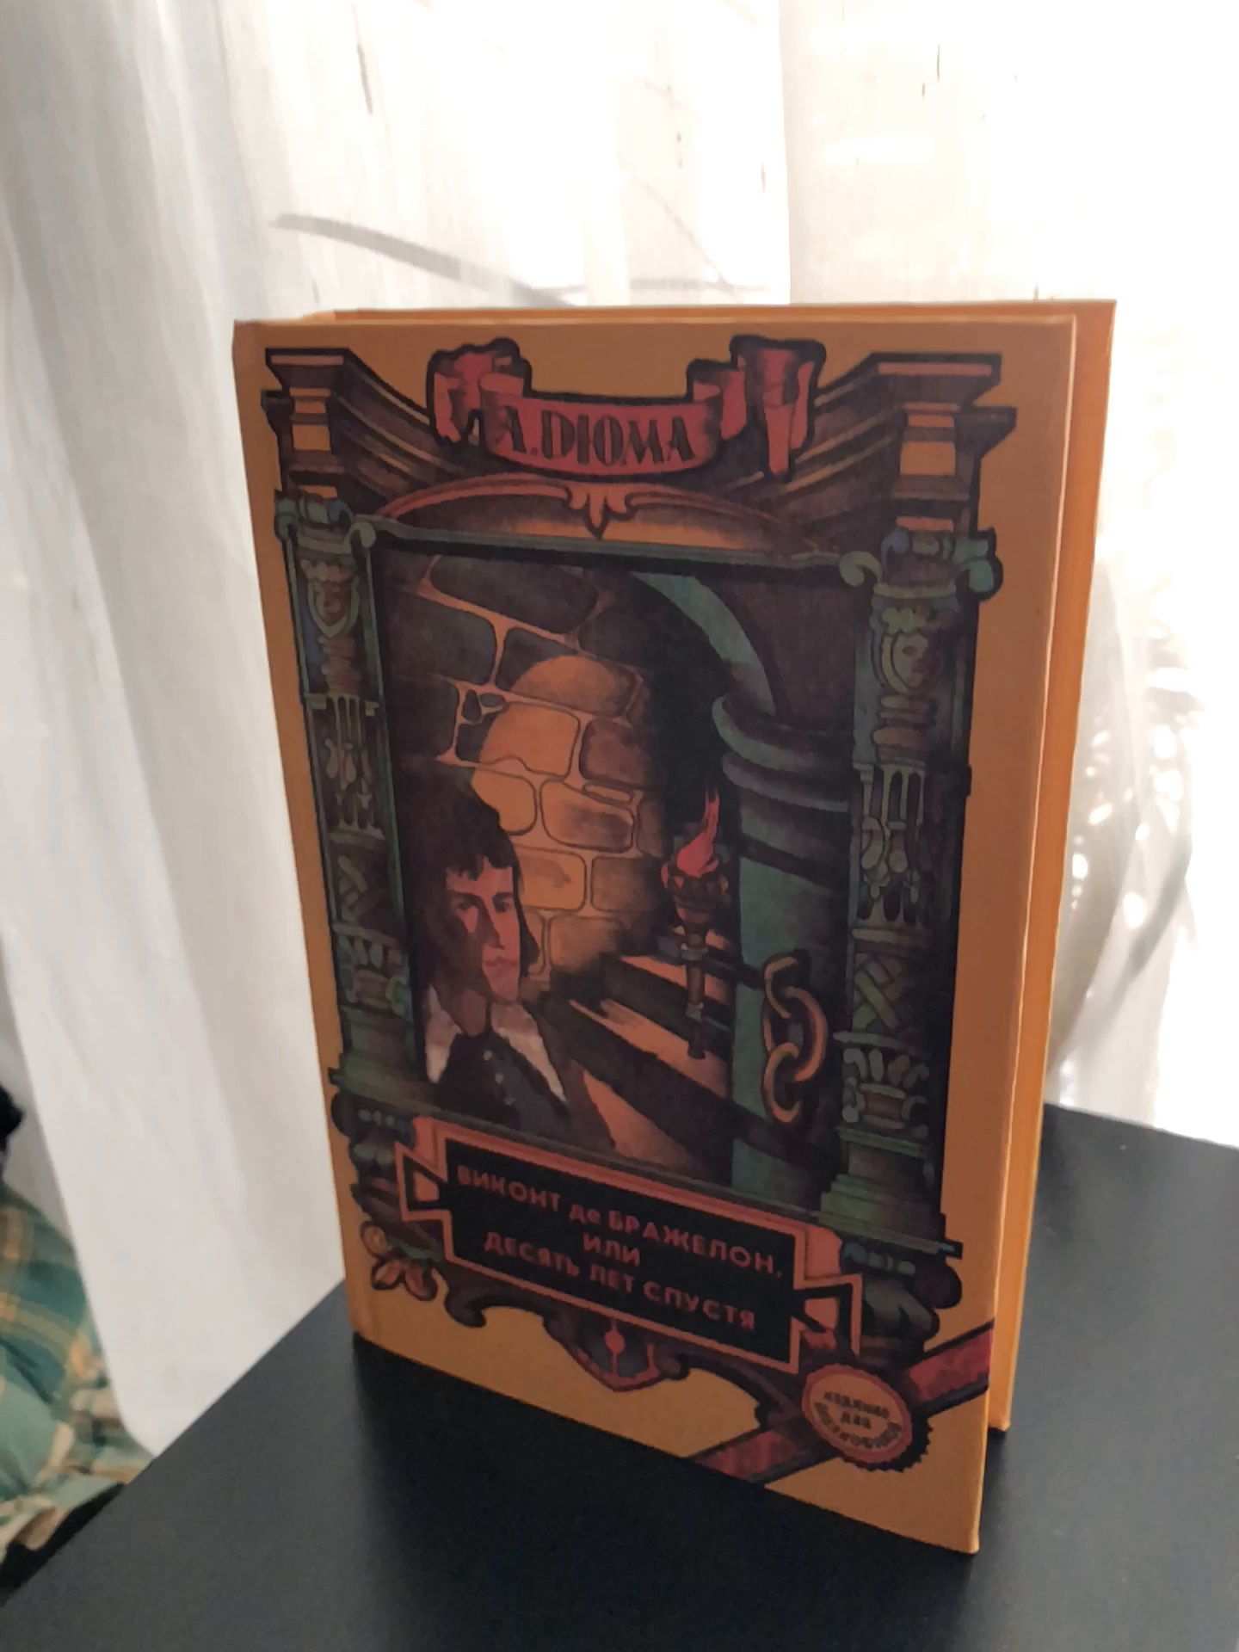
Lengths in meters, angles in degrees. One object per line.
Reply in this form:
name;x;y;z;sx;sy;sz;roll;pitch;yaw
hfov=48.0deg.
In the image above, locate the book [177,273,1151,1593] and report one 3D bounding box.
book;0.008;0.017;0.249;0.142;0.209;0.045;8;24;26
